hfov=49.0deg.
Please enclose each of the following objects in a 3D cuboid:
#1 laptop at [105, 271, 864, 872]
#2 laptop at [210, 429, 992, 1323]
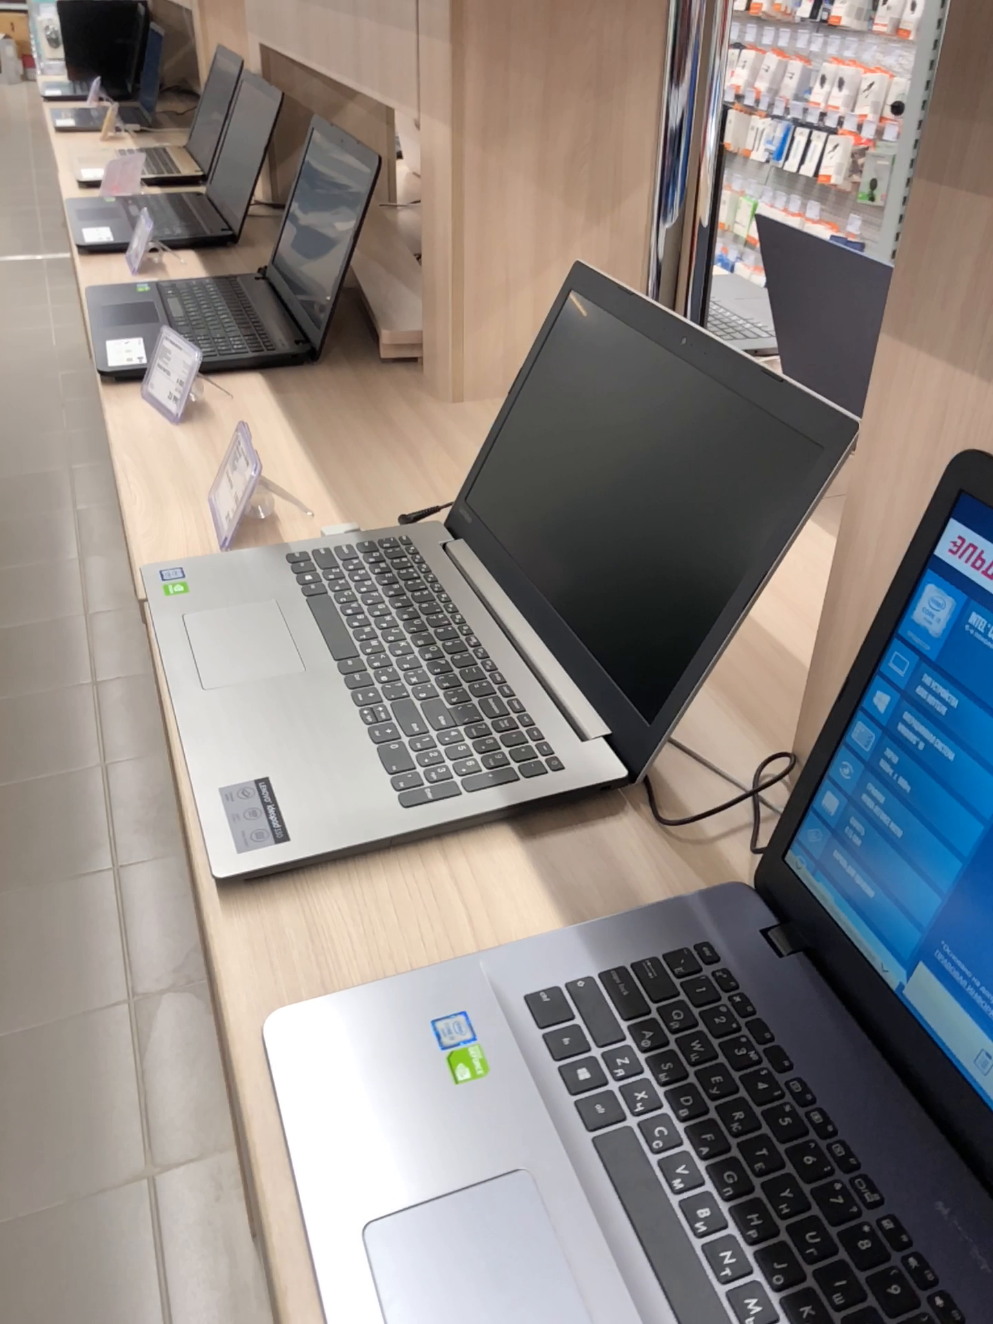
[{"bbox_3d":[-0.042,-0.101,0.730,0.365,0.208,0.372,-11,34,-17],"label":"laptop"},{"bbox_3d":[0.118,0.138,0.334,0.334,0.246,0.404,-11,34,-17],"label":"laptop"}]
